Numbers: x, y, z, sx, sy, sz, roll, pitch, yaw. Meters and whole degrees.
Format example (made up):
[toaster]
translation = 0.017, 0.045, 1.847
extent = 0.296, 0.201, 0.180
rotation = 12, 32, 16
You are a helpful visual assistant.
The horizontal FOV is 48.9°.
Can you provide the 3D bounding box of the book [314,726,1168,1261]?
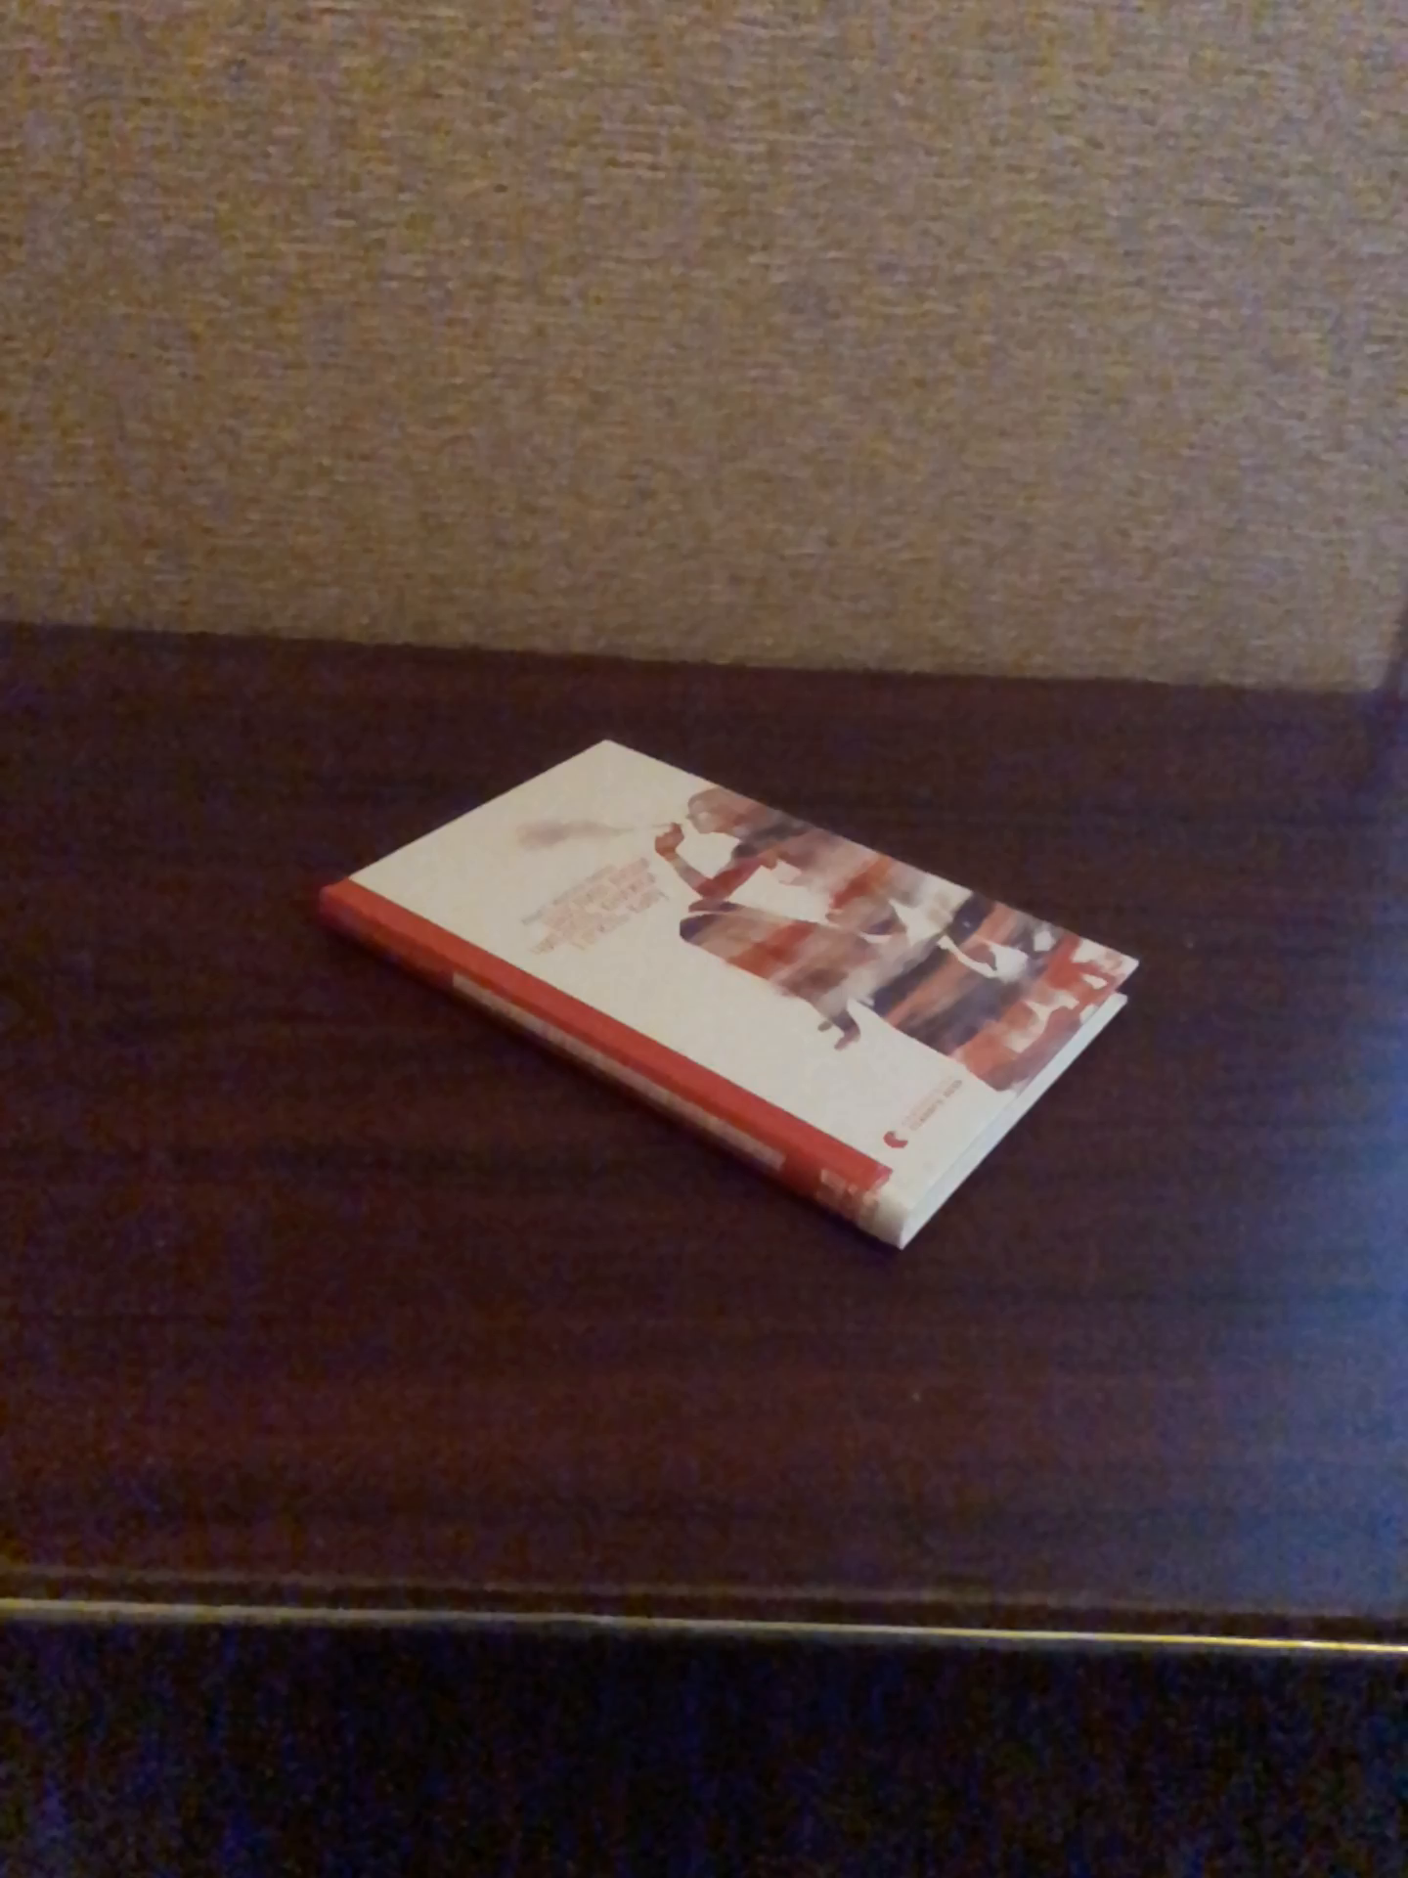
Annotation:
[book]
translation = 0.011, 0.000, 0.498
extent = 0.228, 0.020, 0.151
rotation = 25, 39, 28
